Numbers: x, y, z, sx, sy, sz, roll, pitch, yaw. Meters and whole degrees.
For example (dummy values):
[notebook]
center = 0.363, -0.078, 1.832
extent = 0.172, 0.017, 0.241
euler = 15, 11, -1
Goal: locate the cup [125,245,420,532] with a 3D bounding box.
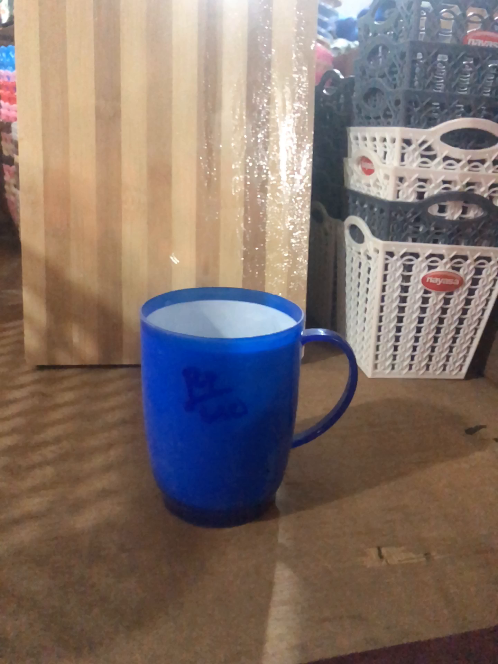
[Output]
[cup]
center = 0.005, 0.022, 0.256
extent = 0.110, 0.109, 0.070
euler = 0, 21, -5
